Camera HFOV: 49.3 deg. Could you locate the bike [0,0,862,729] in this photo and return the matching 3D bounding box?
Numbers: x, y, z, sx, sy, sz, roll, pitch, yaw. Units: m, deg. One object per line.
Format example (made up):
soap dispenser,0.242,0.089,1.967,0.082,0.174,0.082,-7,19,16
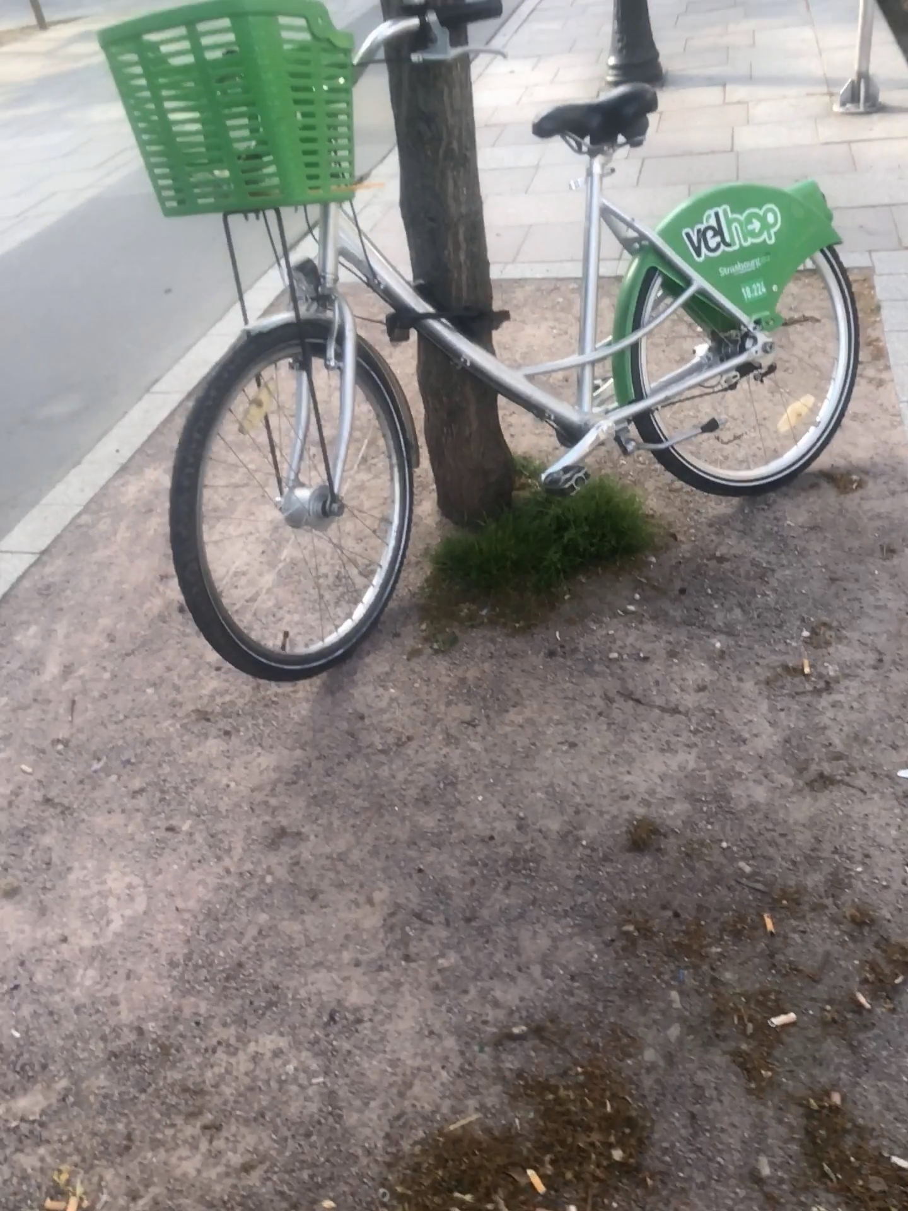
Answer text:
bike,0.140,-0.644,1.984,1.725,1.114,0.312,-29,41,-27
